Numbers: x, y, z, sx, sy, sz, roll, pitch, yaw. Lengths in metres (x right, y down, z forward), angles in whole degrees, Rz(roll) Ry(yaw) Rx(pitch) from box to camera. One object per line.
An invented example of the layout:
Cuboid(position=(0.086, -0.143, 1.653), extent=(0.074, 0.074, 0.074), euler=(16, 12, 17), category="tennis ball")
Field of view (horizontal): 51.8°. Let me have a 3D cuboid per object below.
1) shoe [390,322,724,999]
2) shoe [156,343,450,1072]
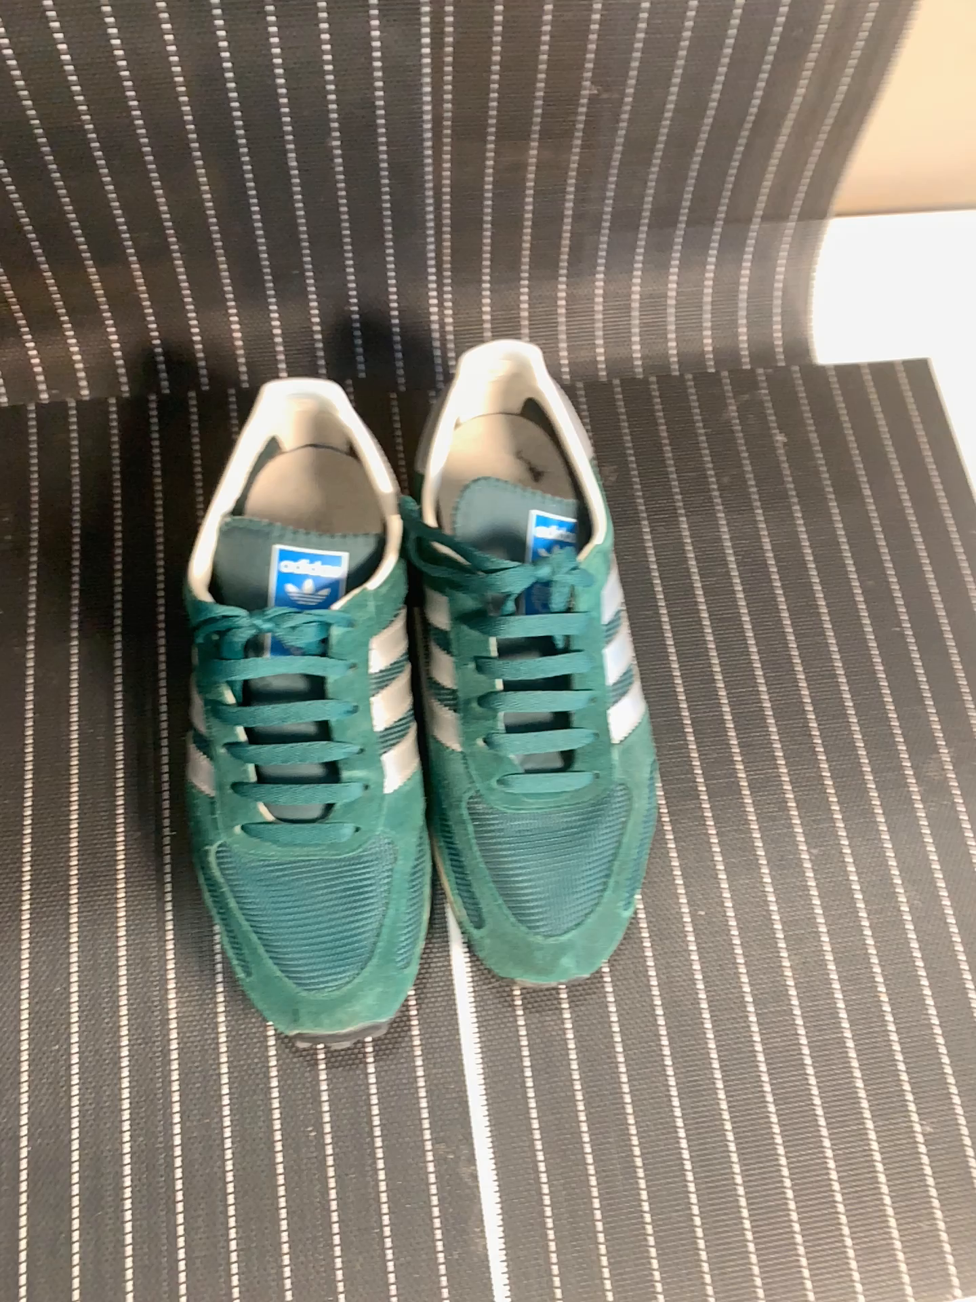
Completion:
Cuboid(position=(0.017, 0.006, 0.461), extent=(0.100, 0.120, 0.280), euler=(-4, 70, -6), category="shoe")
Cuboid(position=(-0.081, 0.018, 0.435), extent=(0.100, 0.090, 0.290), euler=(-4, 70, -6), category="shoe")
